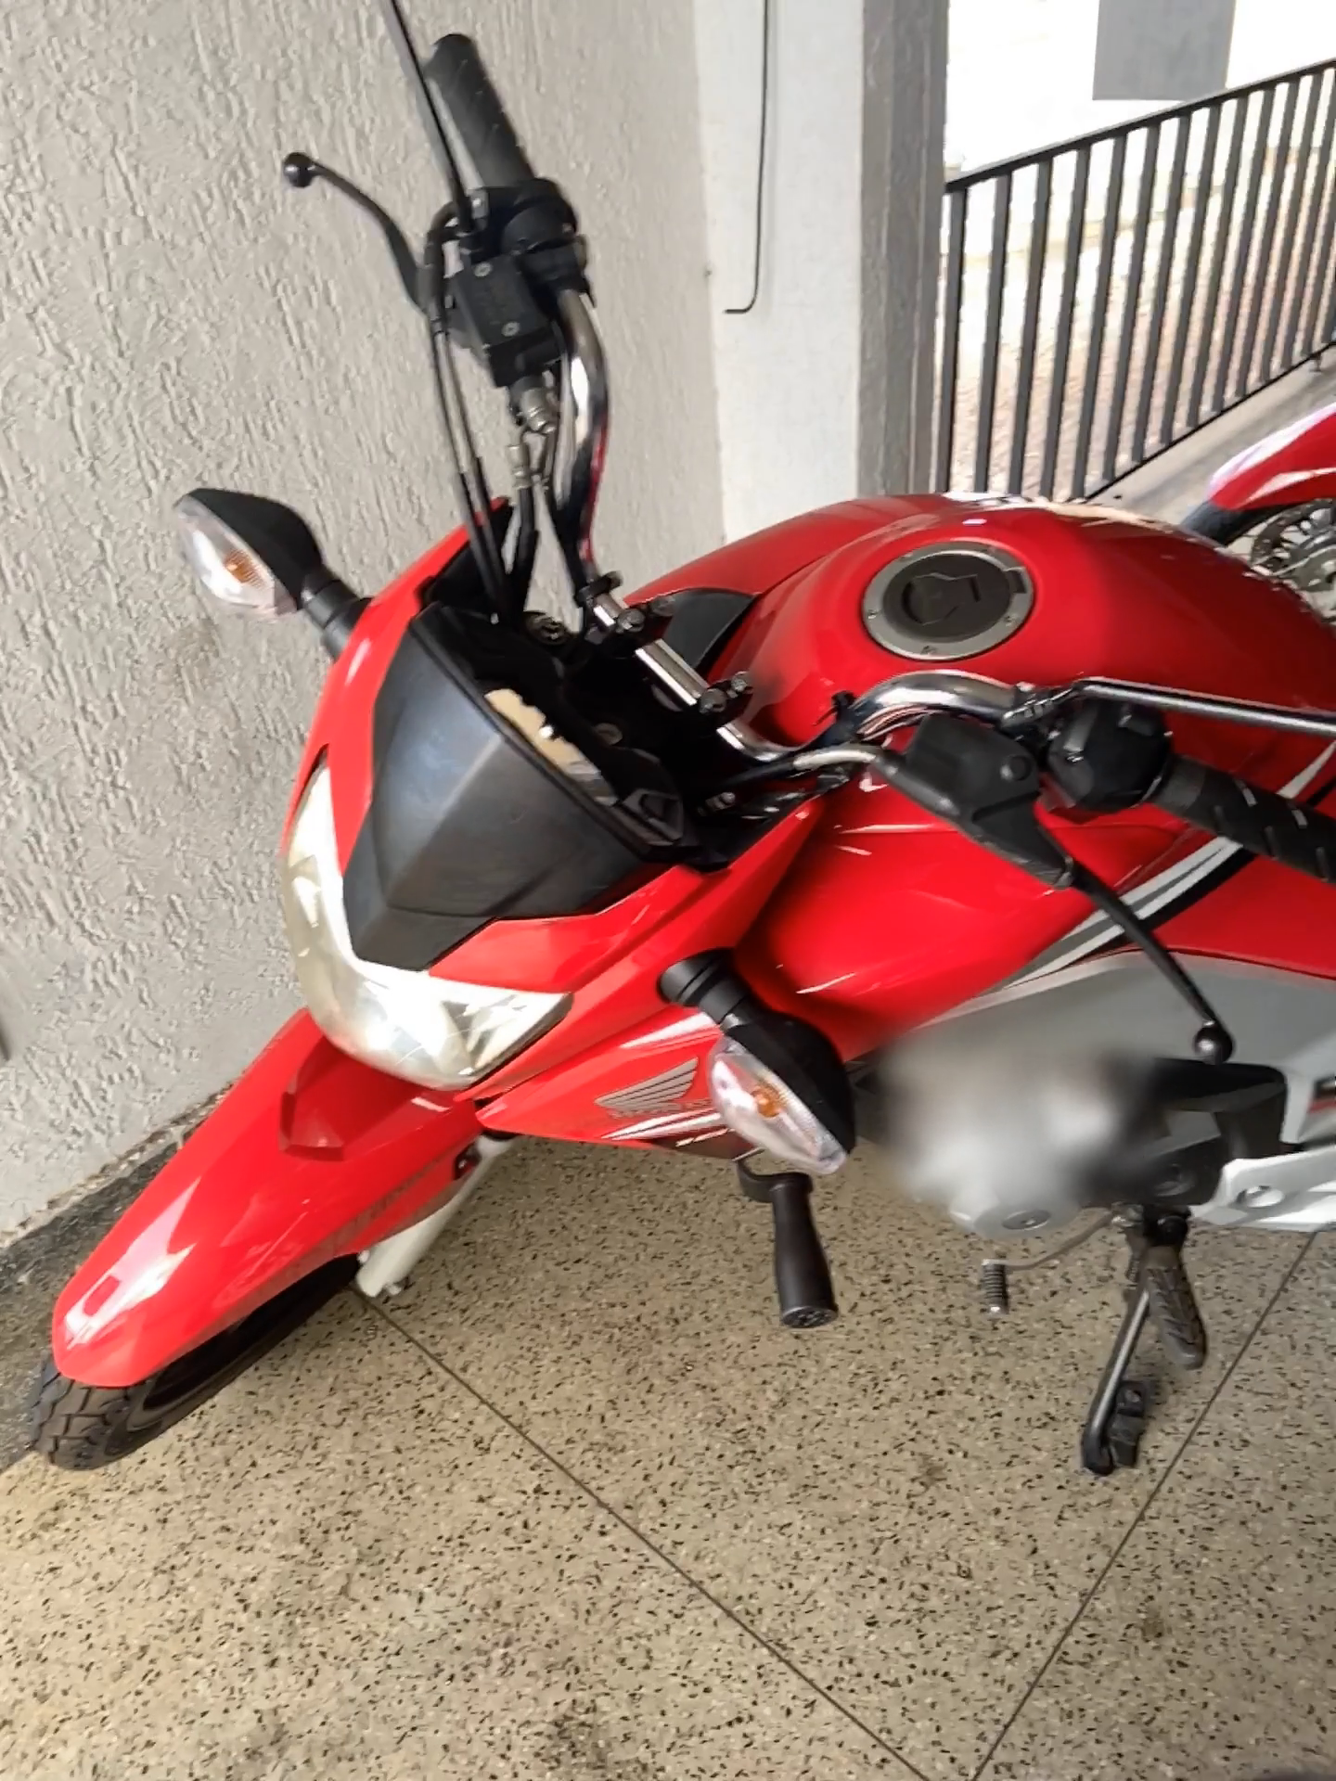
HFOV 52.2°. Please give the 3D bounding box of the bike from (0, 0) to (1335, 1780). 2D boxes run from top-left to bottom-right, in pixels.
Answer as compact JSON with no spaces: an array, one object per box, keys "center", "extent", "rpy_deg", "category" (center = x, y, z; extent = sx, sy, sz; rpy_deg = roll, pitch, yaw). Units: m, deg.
[{"center":[0.386,0.173,1.095],"extent":[1.991,1.421,0.873],"rpy_deg":[-12,35,-5],"category":"bike"}]
